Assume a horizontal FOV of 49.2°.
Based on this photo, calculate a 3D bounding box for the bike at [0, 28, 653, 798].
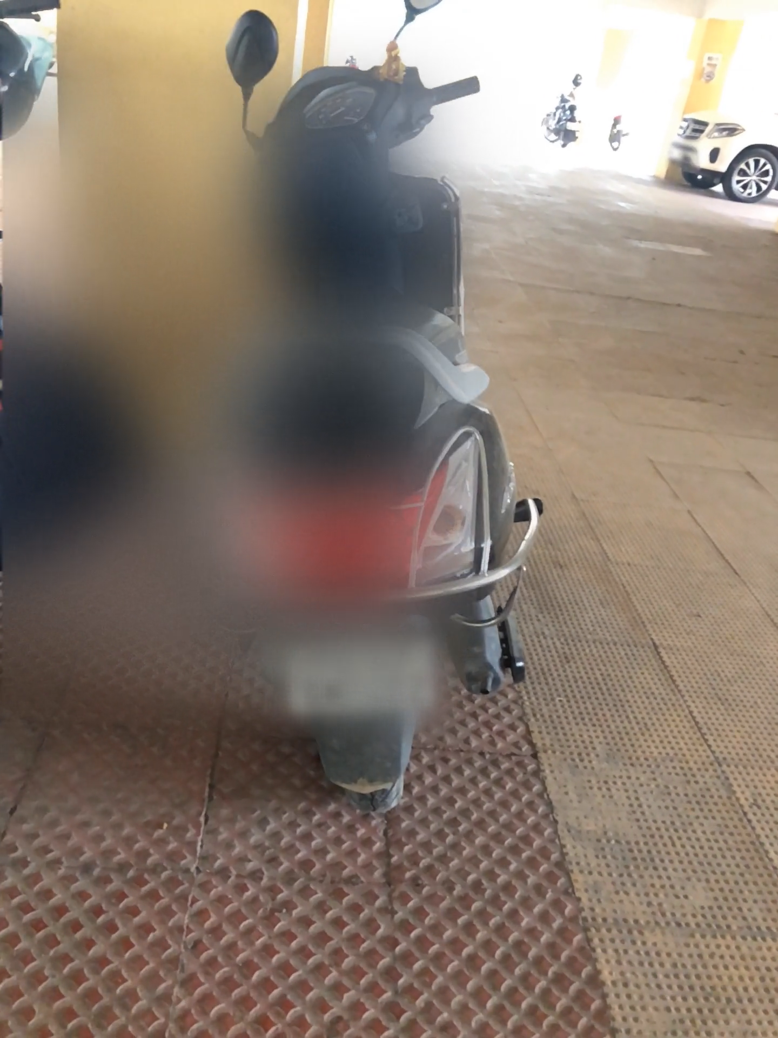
[{"bbox_3d":[-0.220,-0.431,1.714,0.621,0.883,1.667,4,29,-10],"label":"bike"}]
